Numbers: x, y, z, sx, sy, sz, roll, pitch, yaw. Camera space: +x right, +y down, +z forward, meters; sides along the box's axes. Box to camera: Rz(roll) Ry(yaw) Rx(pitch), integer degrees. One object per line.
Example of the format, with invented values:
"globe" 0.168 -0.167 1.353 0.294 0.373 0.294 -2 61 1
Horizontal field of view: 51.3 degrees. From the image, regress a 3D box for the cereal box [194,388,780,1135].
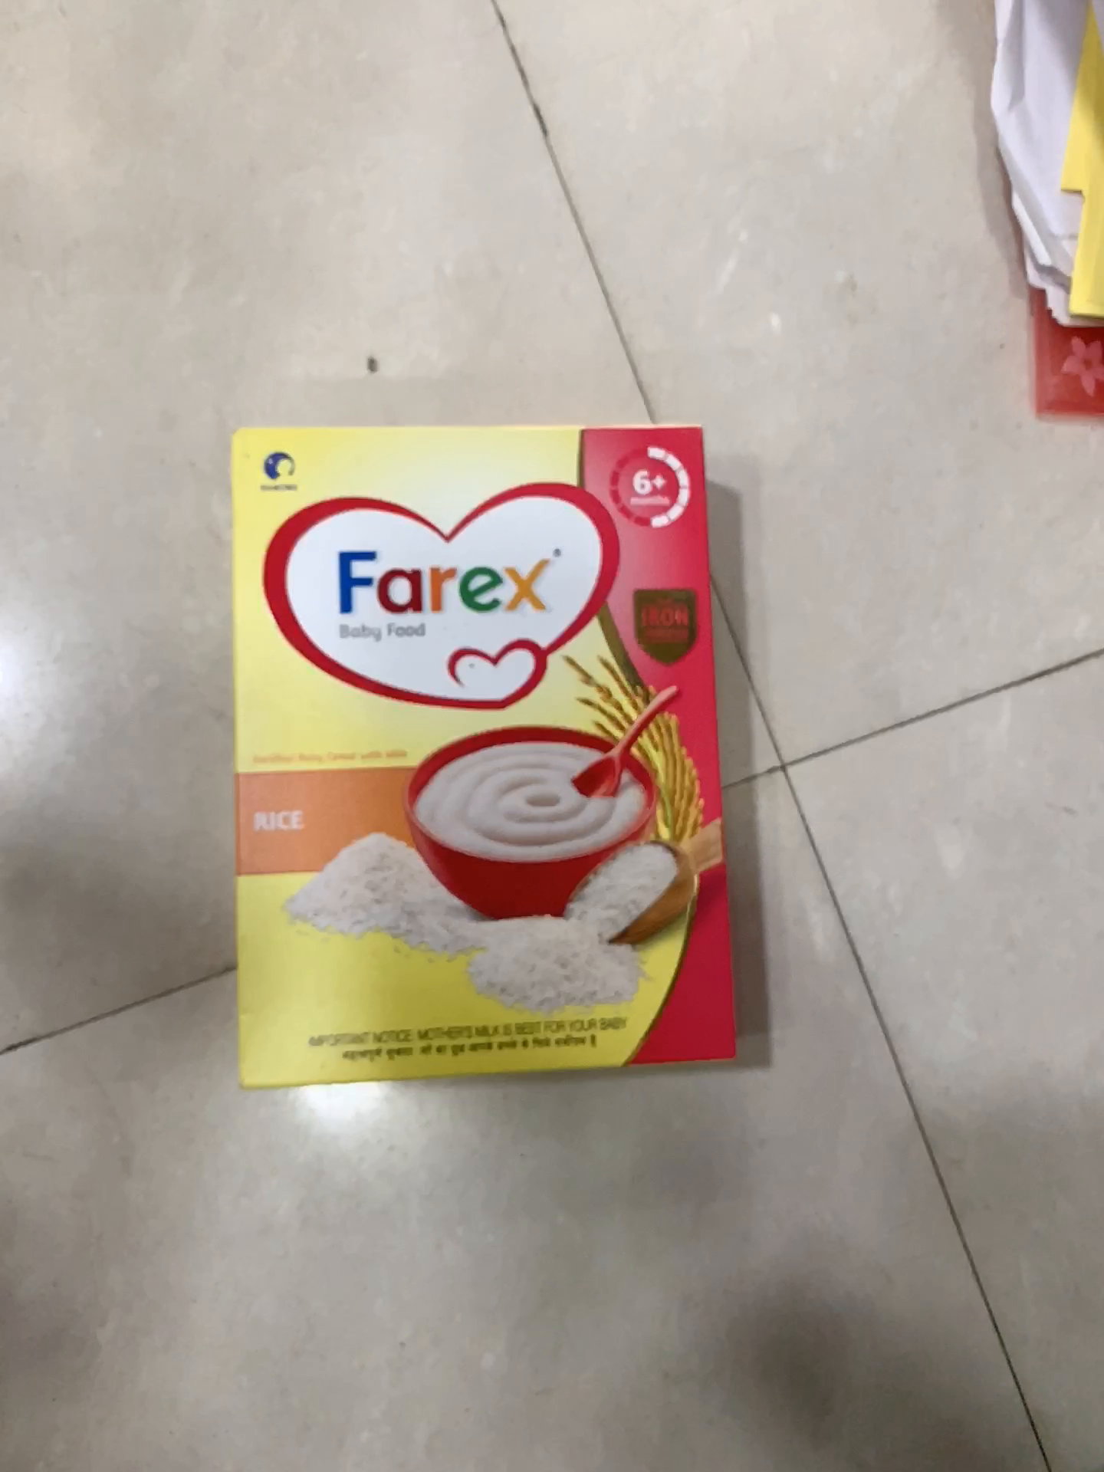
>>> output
"cereal box" -0.023 0.005 0.360 0.160 0.060 0.210 -2 83 -5
